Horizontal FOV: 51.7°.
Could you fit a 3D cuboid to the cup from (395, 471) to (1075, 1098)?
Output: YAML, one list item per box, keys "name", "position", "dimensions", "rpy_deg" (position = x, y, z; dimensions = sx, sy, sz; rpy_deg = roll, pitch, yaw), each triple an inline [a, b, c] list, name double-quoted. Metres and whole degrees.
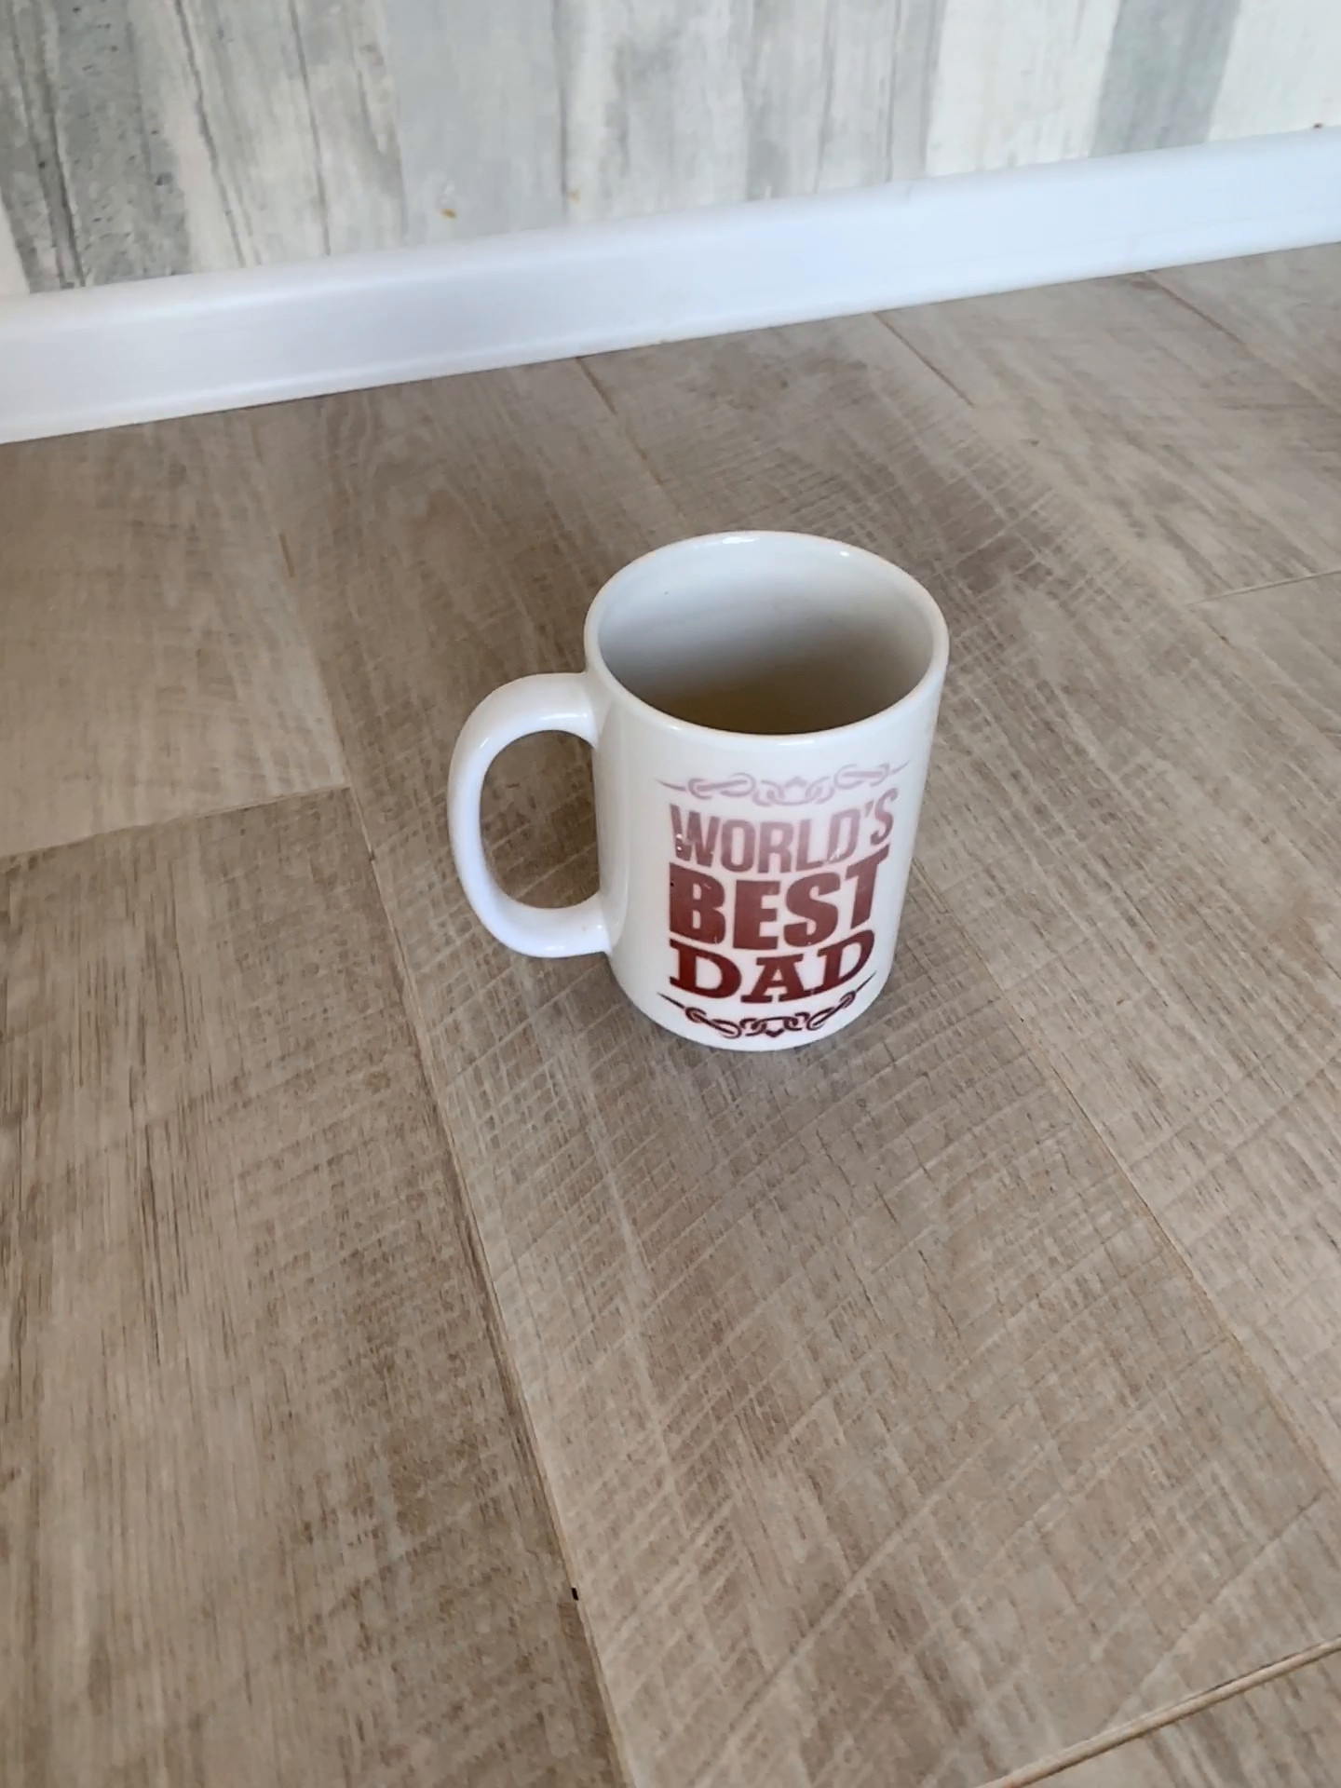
- name: "cup"
  position: [0.009, -0.026, 0.334]
  dimensions: [0.130, 0.110, 0.080]
  rpy_deg: [-8, 46, -8]
